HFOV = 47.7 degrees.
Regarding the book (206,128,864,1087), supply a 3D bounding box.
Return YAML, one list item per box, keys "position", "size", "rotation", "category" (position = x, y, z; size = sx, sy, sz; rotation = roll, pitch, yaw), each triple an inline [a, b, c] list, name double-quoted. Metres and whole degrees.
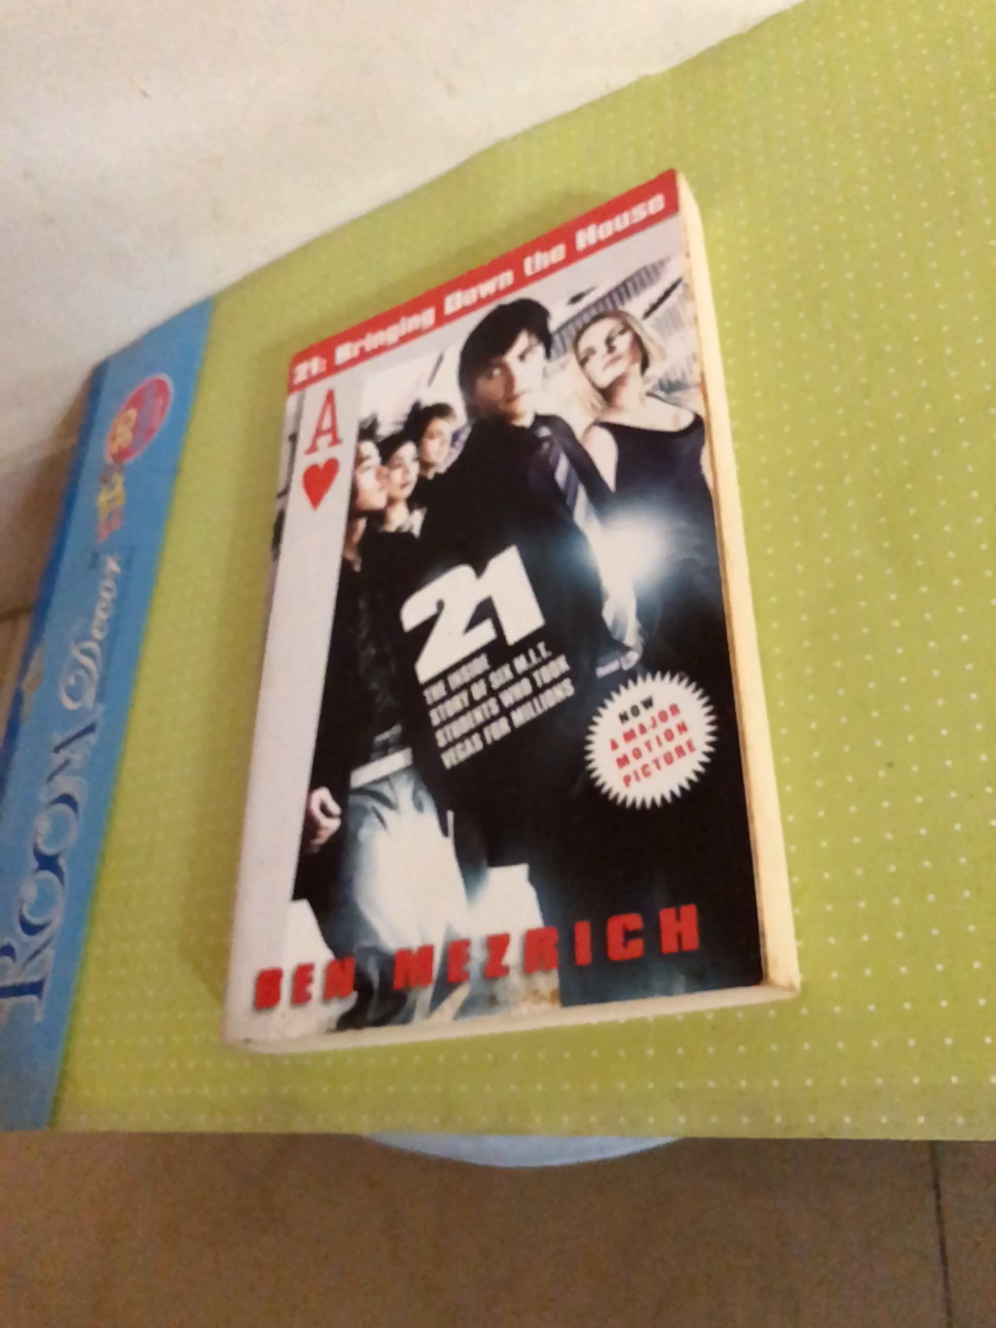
- position: [0.002, -0.015, 0.275]
  size: [0.130, 0.040, 0.210]
  rotation: [-16, 59, 28]
  category: "book"
